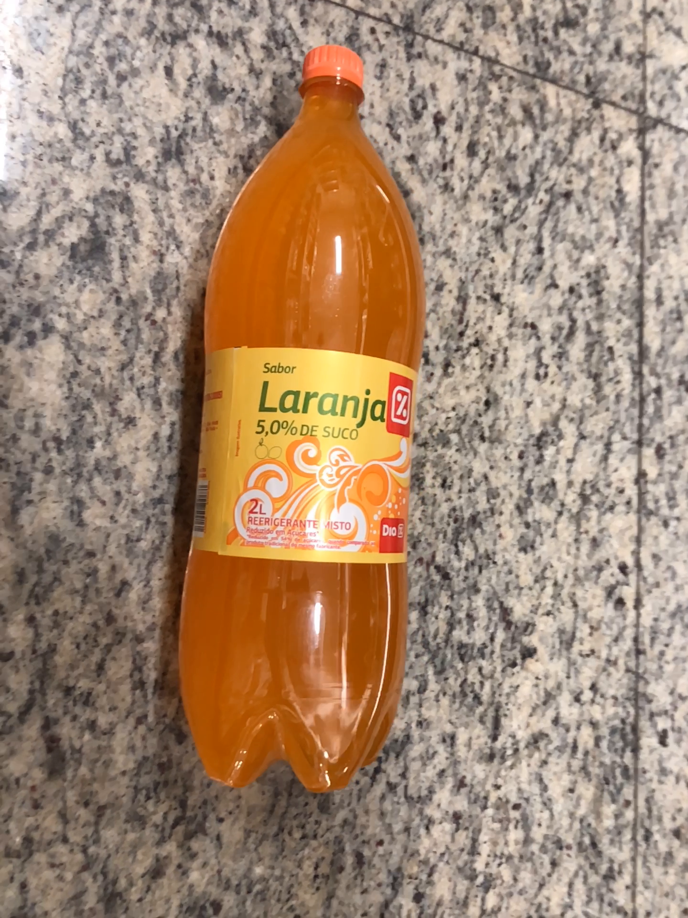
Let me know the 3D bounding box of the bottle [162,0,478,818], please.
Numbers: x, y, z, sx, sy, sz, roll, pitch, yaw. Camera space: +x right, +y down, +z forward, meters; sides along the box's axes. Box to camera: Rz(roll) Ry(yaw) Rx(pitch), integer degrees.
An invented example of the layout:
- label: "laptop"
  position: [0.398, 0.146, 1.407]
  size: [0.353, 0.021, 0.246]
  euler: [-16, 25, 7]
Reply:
- label: "bottle"
  position: [-0.009, -0.033, 0.361]
  size: [0.120, 0.070, 0.350]
  euler: [4, 84, -26]
